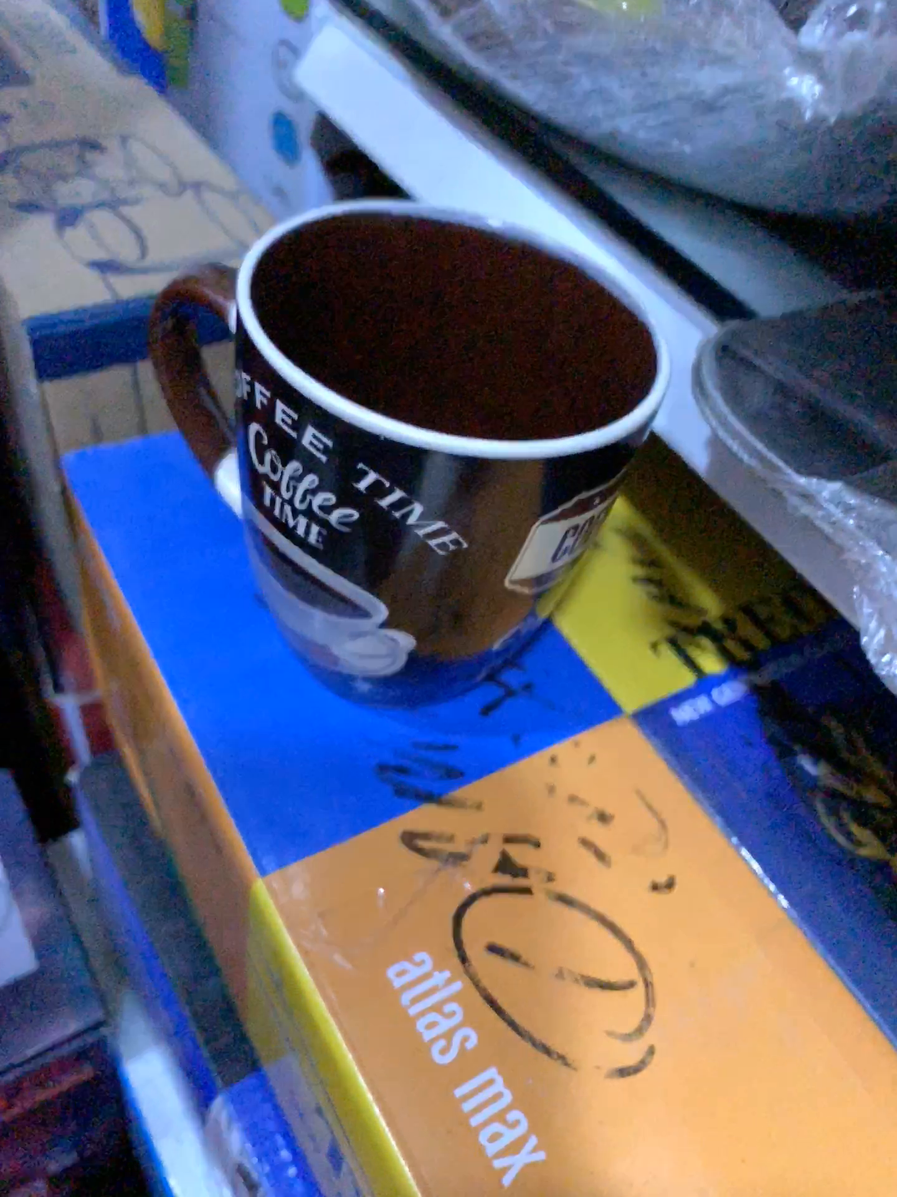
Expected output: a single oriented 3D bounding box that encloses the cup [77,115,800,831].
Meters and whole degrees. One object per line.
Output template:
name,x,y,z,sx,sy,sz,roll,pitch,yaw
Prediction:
cup,-0.008,-0.030,0.197,0.110,0.079,0.070,38,51,21
